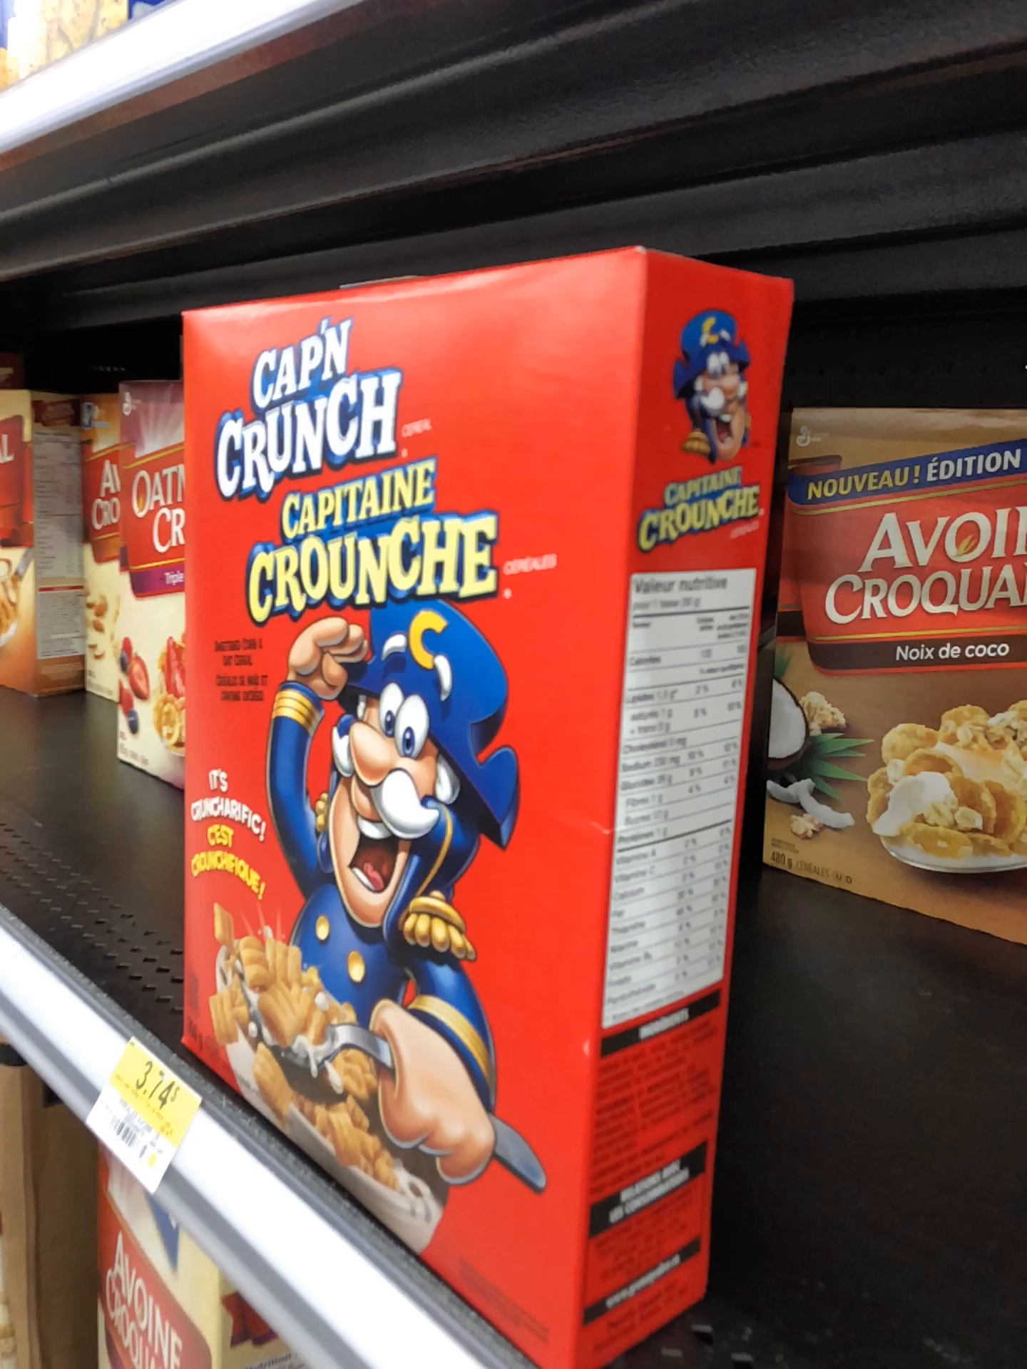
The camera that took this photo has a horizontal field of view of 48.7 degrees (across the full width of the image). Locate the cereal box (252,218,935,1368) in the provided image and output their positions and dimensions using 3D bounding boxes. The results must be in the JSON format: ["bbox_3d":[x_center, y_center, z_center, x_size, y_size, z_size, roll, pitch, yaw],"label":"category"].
[{"bbox_3d":[-0.001,0.019,0.357,0.060,0.279,0.221,-7,14,-41],"label":"cereal box"}]
